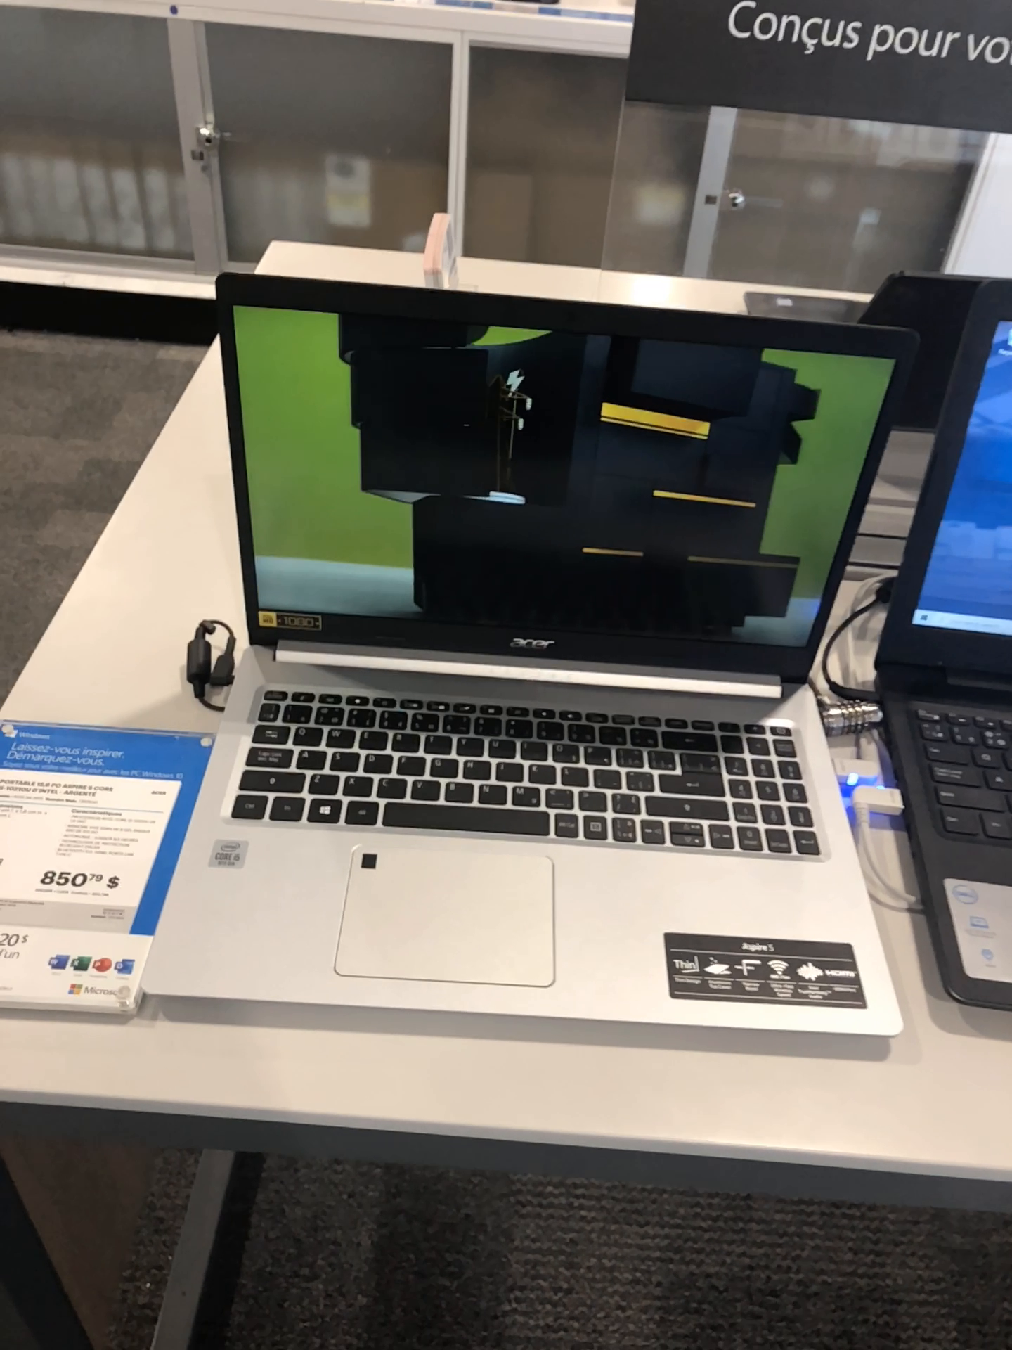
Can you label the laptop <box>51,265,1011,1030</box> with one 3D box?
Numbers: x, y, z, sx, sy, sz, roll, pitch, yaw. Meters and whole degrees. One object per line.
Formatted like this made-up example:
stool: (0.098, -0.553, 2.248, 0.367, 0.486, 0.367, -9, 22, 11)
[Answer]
laptop: (0.017, -0.022, 0.548, 0.349, 0.229, 0.268, 4, 42, -1)
